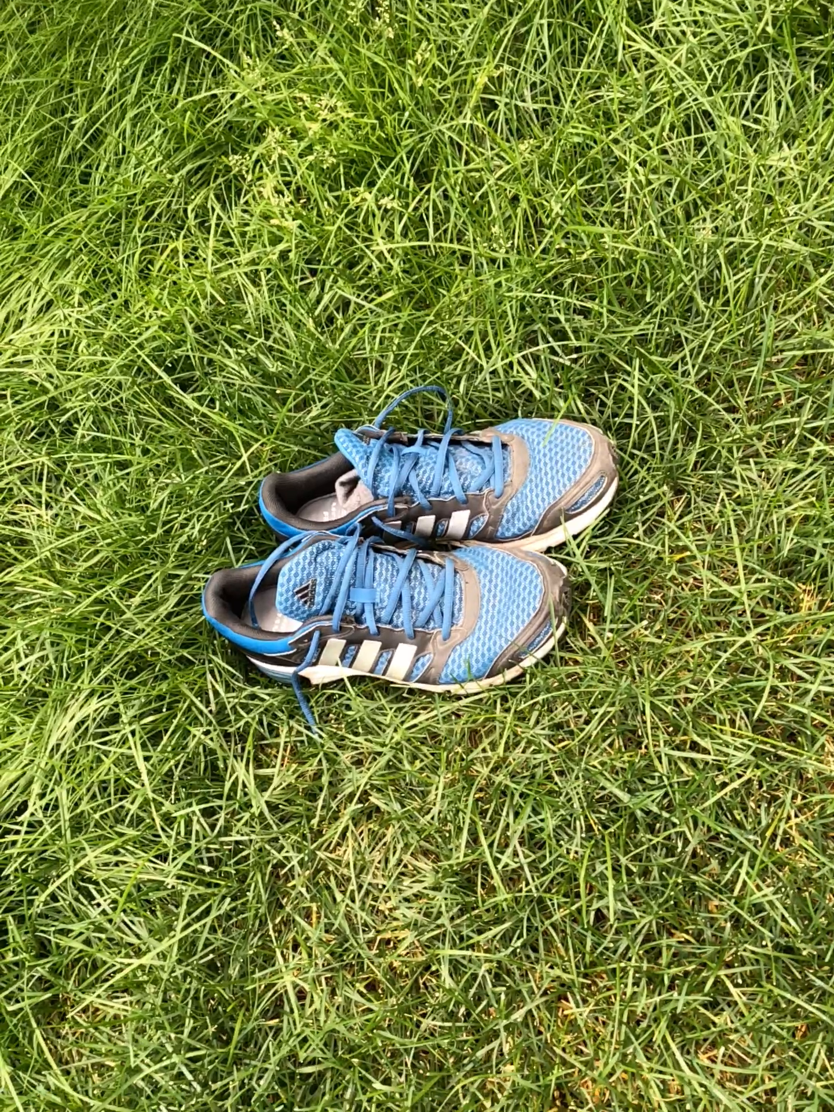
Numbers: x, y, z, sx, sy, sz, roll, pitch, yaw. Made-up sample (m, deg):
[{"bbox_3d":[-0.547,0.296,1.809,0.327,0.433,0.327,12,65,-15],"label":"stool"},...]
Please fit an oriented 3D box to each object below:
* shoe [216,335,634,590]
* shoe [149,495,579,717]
[{"bbox_3d":[0.011,-0.060,0.680,0.280,0.120,0.120,-5,70,13],"label":"shoe"},{"bbox_3d":[-0.028,0.039,0.647,0.270,0.120,0.120,-1,71,14],"label":"shoe"}]
